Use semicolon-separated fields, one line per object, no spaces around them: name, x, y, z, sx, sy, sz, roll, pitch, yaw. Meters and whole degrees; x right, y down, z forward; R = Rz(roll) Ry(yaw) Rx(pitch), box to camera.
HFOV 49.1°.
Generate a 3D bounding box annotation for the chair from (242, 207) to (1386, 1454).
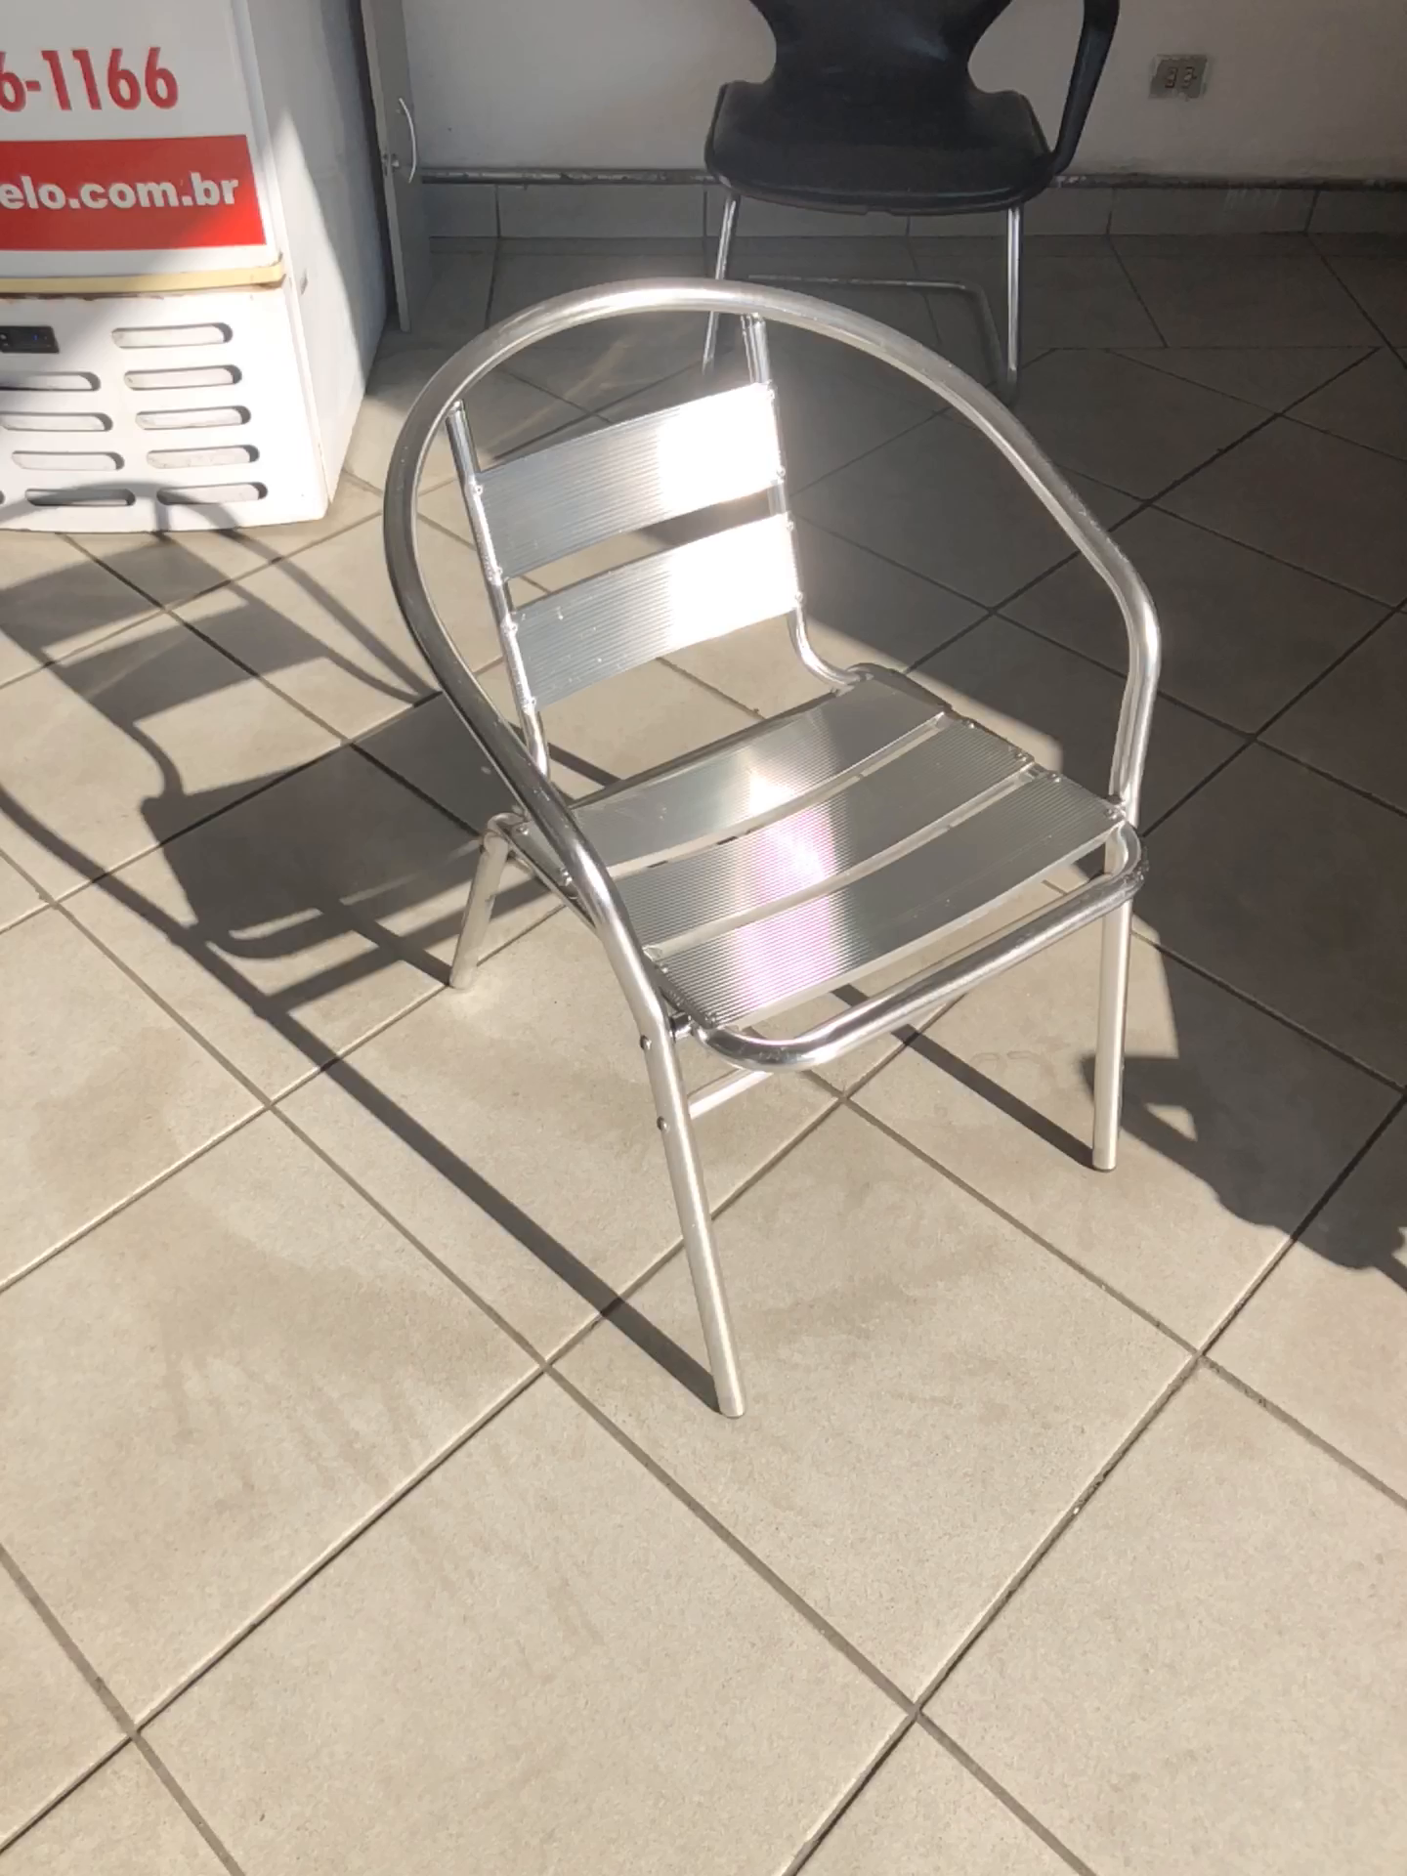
chair;0.046;-0.110;1.324;0.521;0.705;0.633;-26;51;-25
